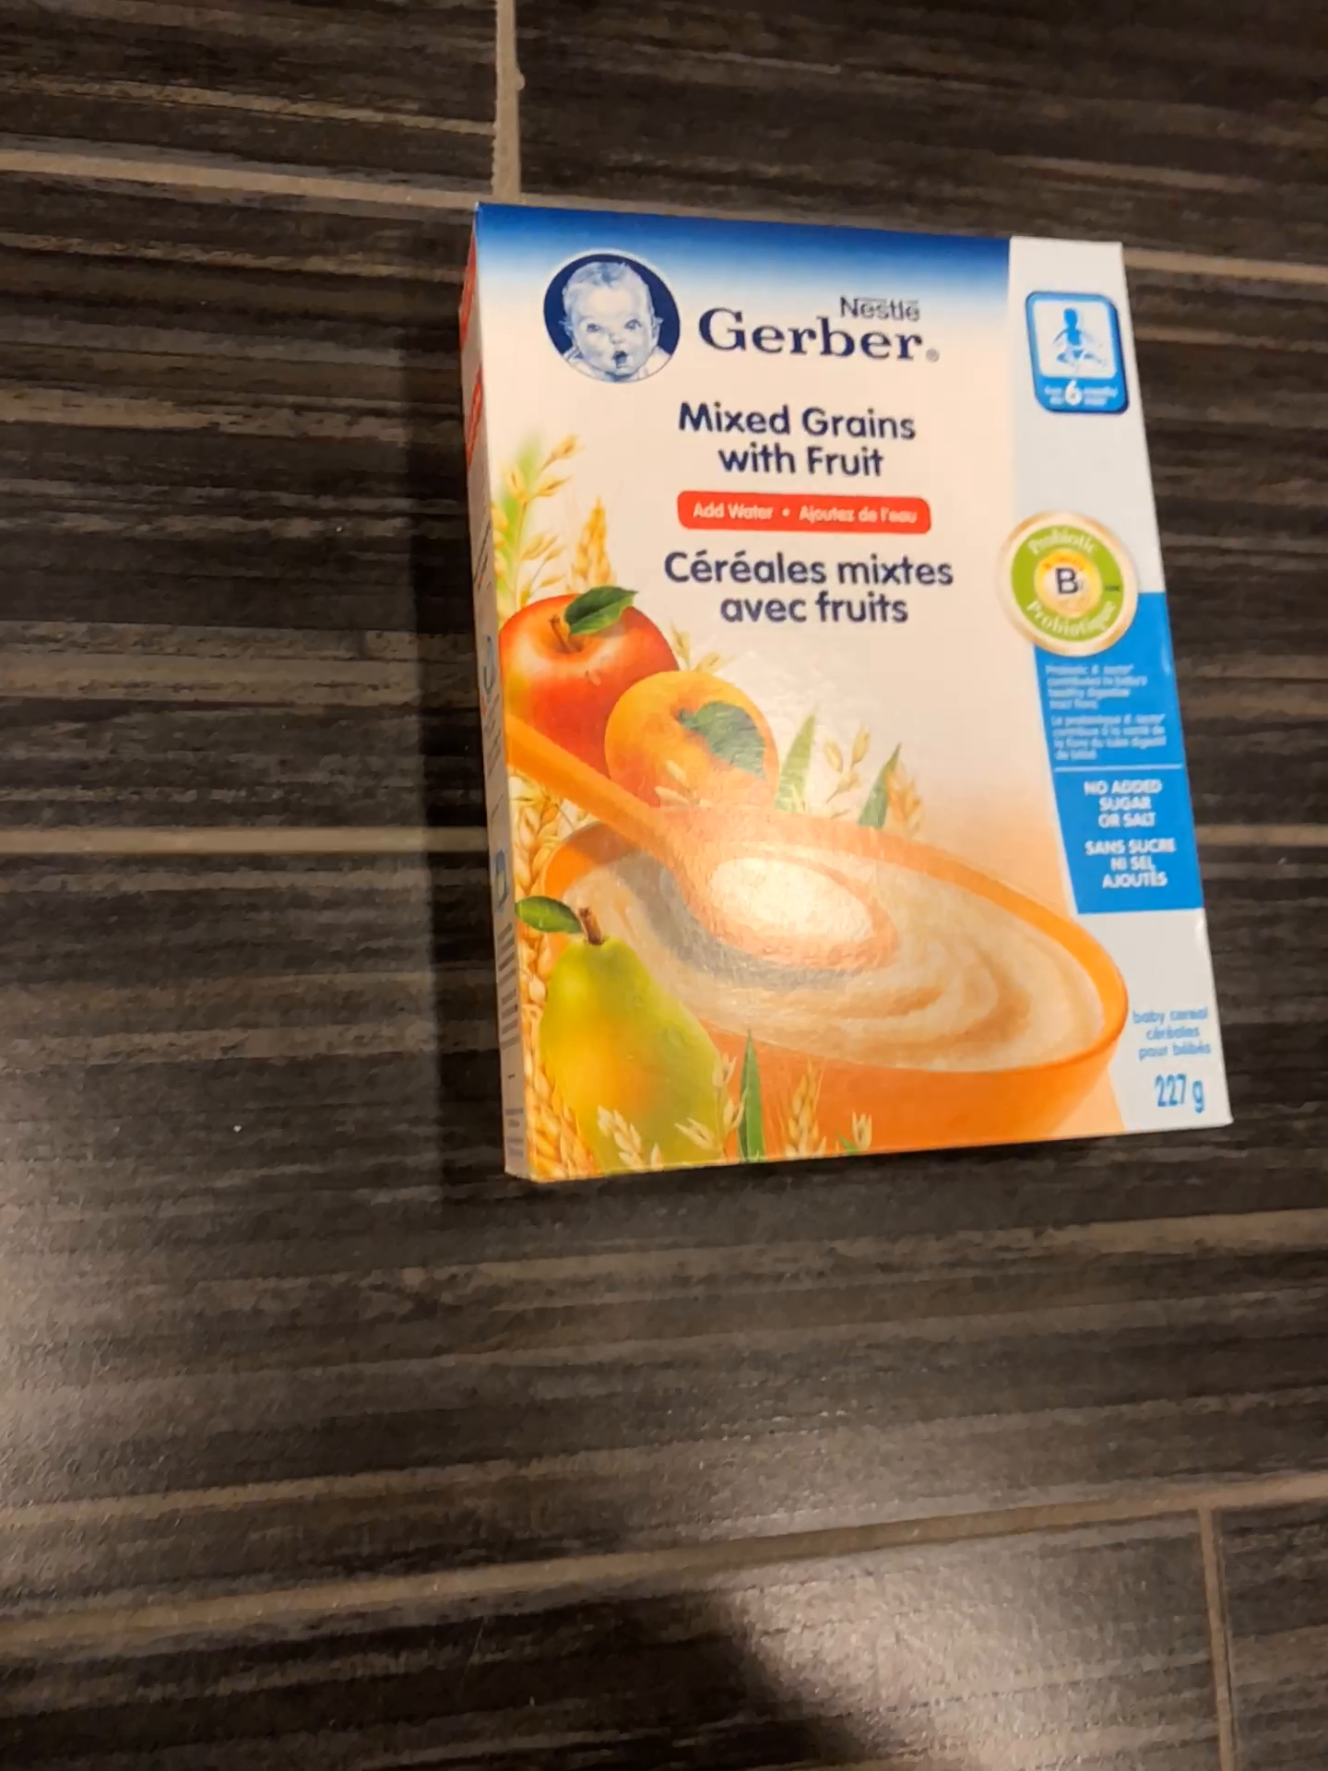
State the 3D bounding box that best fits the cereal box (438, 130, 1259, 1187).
[{"bbox_3d":[0.034,-0.045,0.313,0.150,0.050,0.200,-2,83,-13],"label":"cereal box"}]
